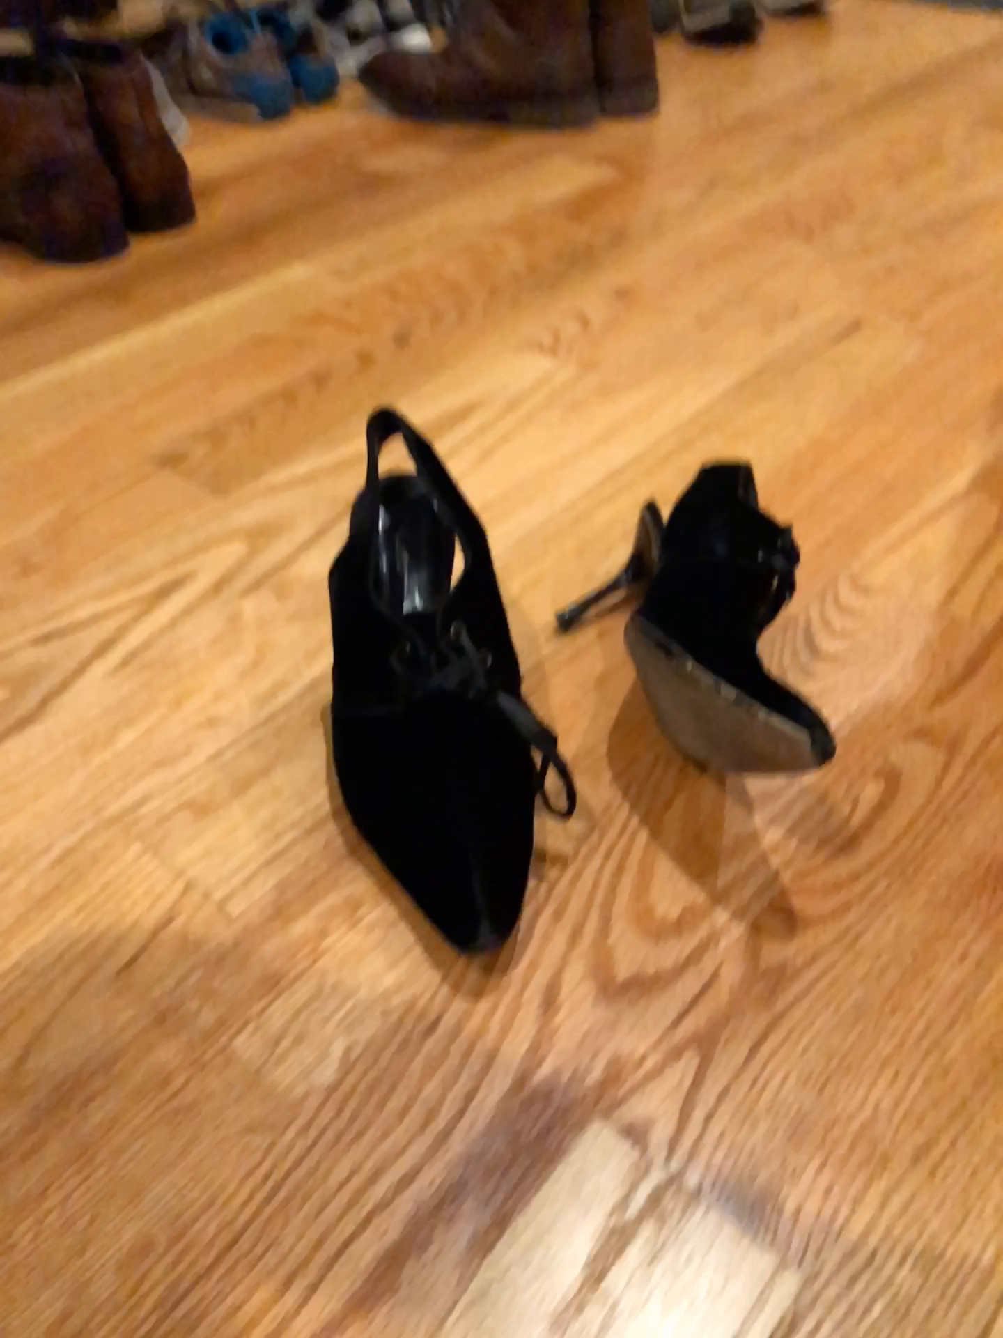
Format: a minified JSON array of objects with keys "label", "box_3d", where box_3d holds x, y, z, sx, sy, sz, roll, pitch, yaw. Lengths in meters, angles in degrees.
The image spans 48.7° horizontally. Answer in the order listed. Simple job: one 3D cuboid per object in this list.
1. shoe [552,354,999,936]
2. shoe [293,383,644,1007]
[{"label":"shoe","box_3d":[0.093,-0.027,0.479,0.118,0.107,0.253,-4,41,-1]},{"label":"shoe","box_3d":[-0.026,-0.006,0.475,0.107,0.117,0.253,-7,41,-6]}]
